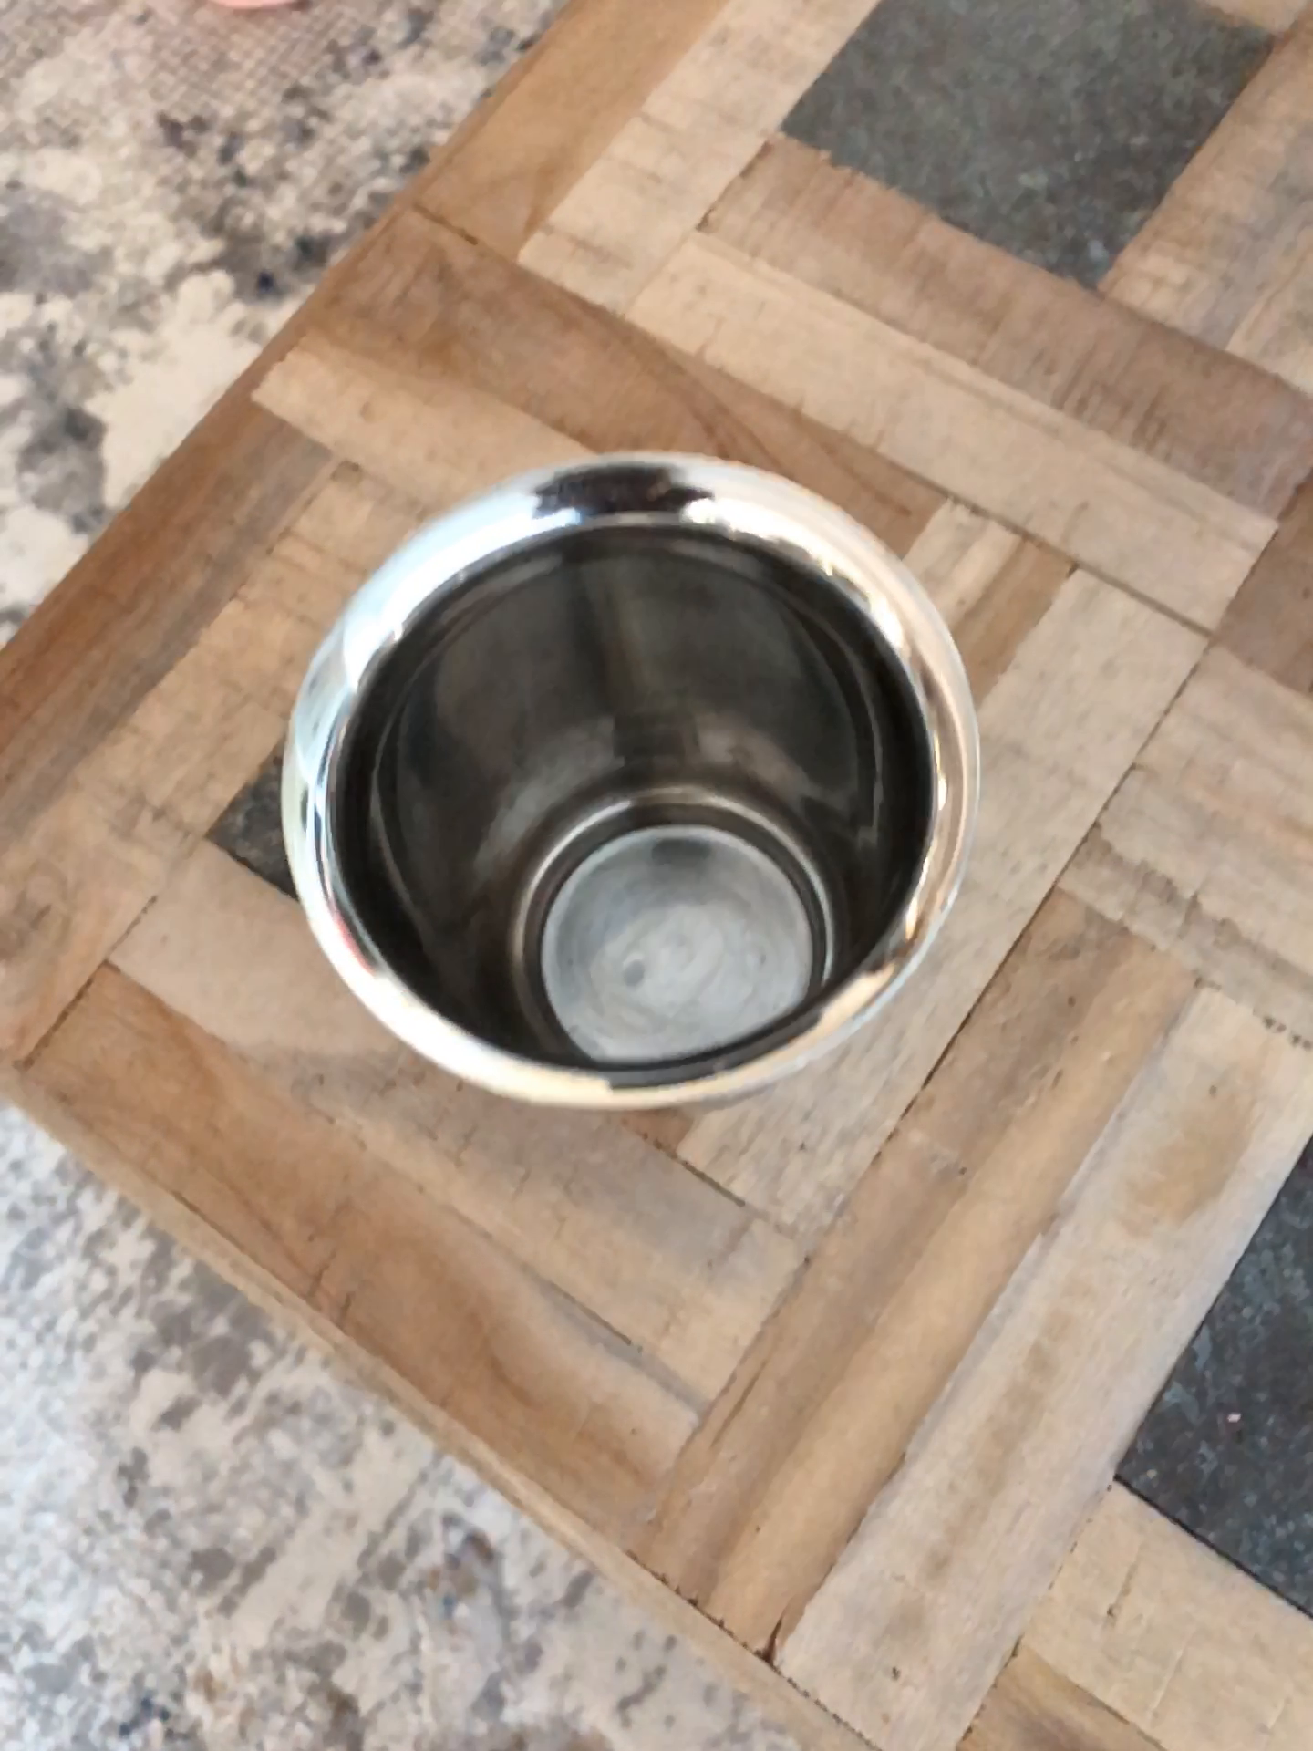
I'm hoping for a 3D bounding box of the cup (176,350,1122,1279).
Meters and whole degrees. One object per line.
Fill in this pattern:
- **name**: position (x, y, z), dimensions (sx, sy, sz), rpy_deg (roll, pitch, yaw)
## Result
- **cup**: position (0.000, -0.001, 0.217), dimensions (0.084, 0.088, 0.082), rpy_deg (-2, 72, 5)
